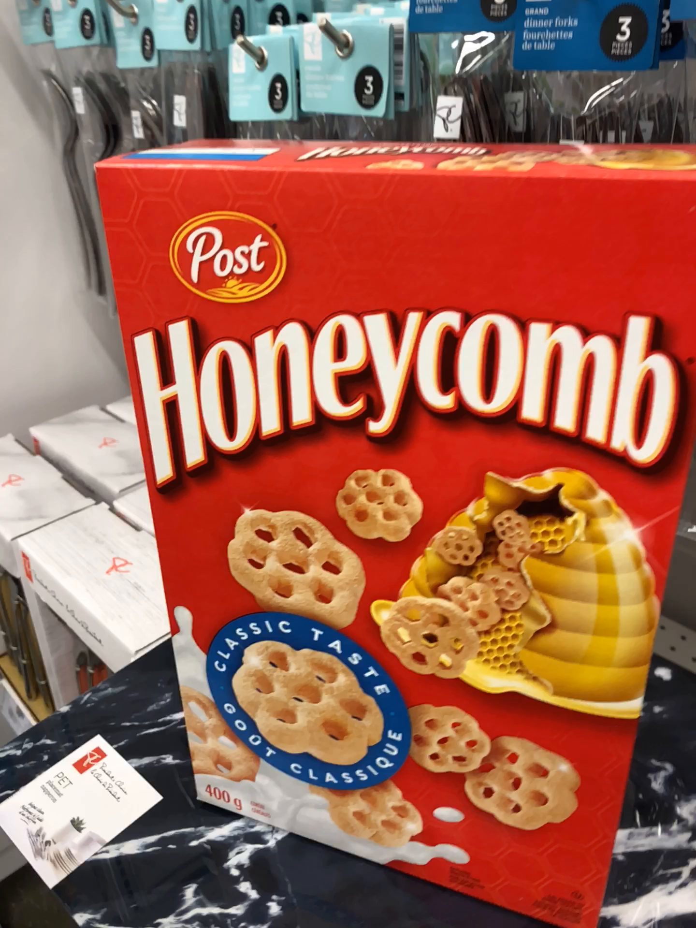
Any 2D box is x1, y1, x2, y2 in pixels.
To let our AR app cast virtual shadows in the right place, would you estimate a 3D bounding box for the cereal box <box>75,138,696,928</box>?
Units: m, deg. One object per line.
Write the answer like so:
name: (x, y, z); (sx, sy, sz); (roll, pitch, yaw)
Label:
cereal box: (0.022, 0.030, 0.320); (0.210, 0.299, 0.070); (9, 28, 21)
